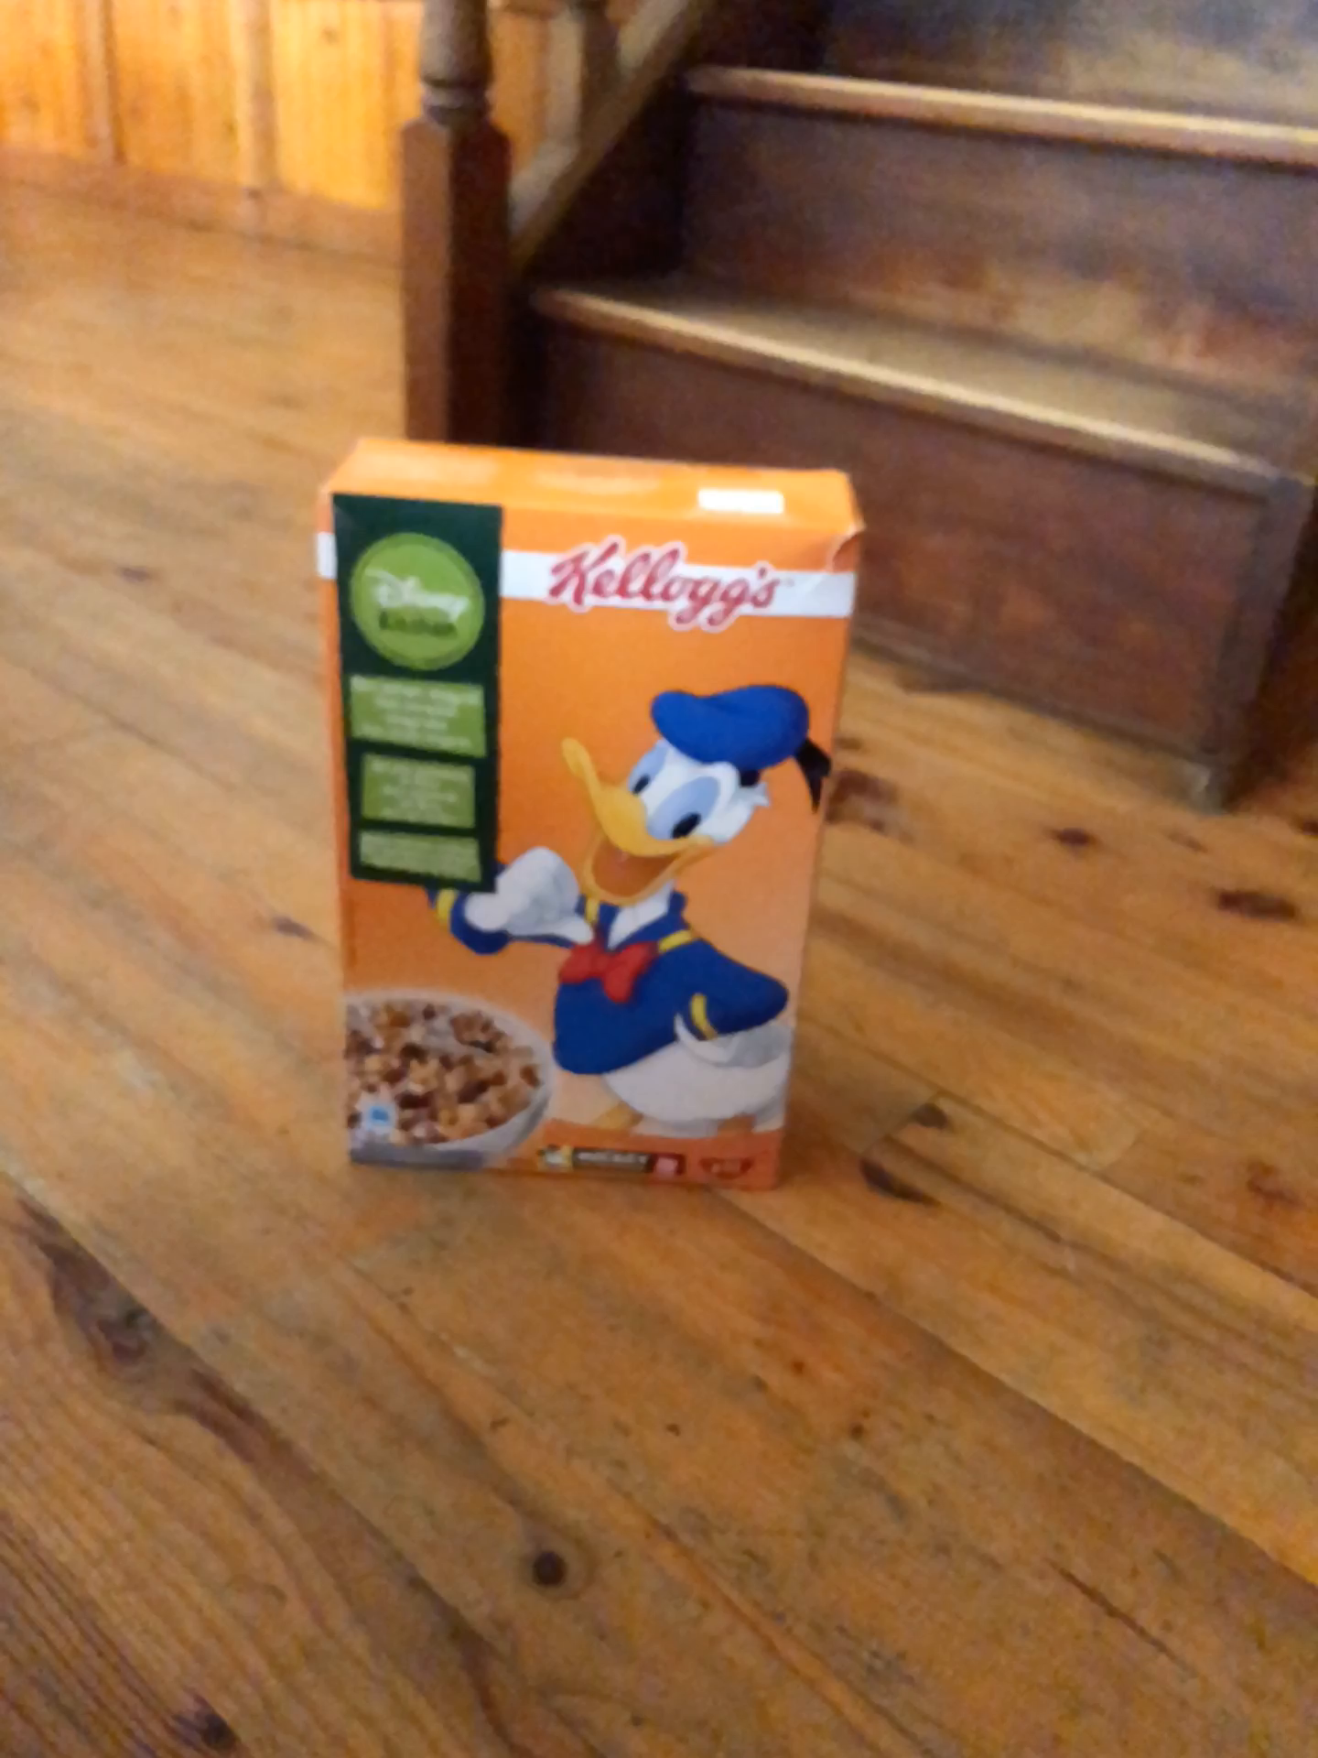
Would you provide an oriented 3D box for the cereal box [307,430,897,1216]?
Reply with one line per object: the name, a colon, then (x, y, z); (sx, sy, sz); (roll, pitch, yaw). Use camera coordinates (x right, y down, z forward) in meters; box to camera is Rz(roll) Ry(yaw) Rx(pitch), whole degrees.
cereal box: (-0.029, -0.015, 0.607); (0.200, 0.298, 0.091); (5, 28, -1)
